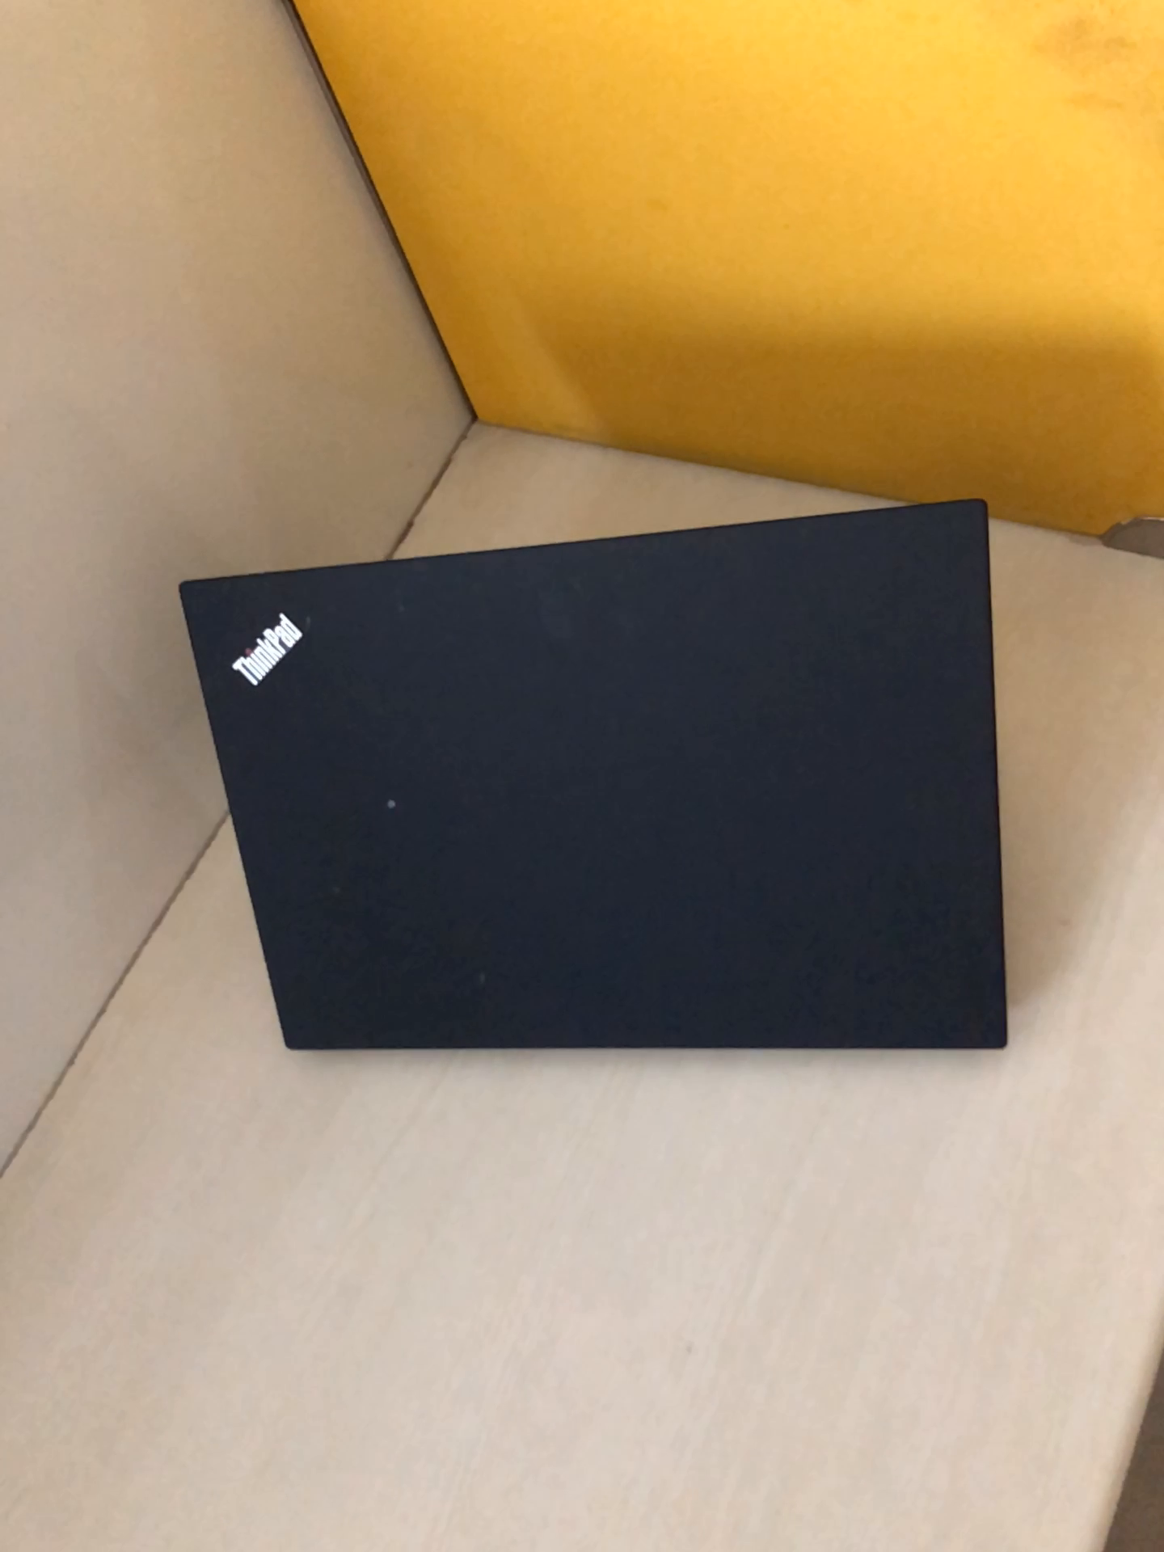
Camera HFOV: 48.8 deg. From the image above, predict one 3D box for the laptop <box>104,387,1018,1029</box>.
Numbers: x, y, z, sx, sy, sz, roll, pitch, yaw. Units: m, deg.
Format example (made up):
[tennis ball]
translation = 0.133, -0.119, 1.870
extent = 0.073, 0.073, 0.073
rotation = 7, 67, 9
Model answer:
[laptop]
translation = 0.005, -0.020, 0.607
extent = 0.349, 0.166, 0.241
rotation = -4, 56, 15
